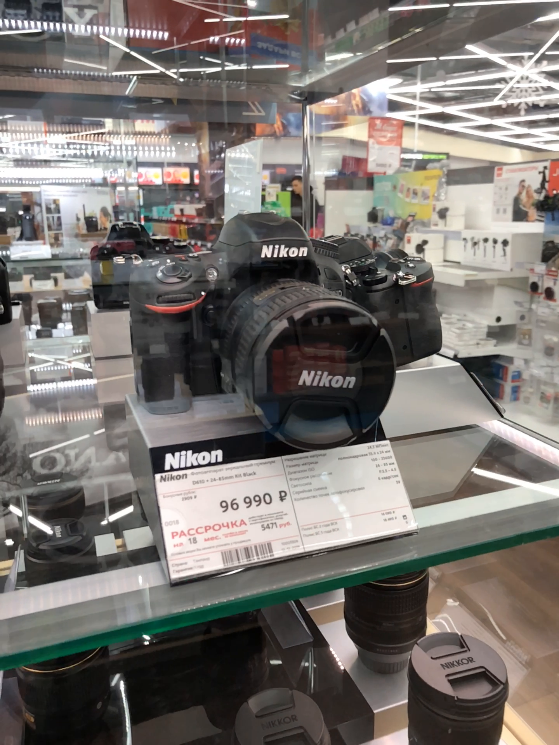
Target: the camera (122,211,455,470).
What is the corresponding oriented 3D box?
[{"bbox_3d":[-0.009,-0.034,0.348,0.148,0.110,0.150,-4,15,-13],"label":"camera"}]
